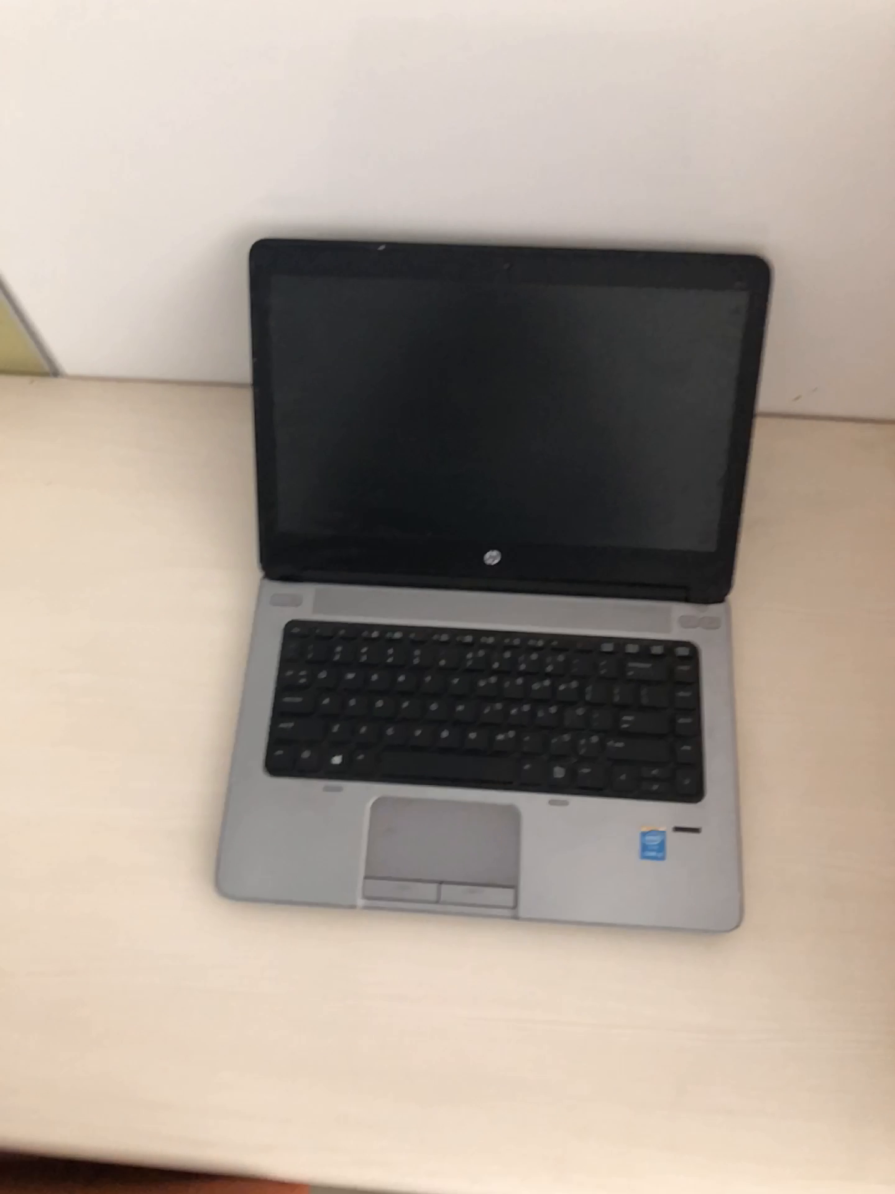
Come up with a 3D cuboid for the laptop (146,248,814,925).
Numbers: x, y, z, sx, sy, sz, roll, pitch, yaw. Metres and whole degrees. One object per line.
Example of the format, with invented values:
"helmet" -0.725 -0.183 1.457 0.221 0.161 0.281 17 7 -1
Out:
"laptop" 0.027 -0.012 0.616 0.322 0.149 0.378 3 67 4
